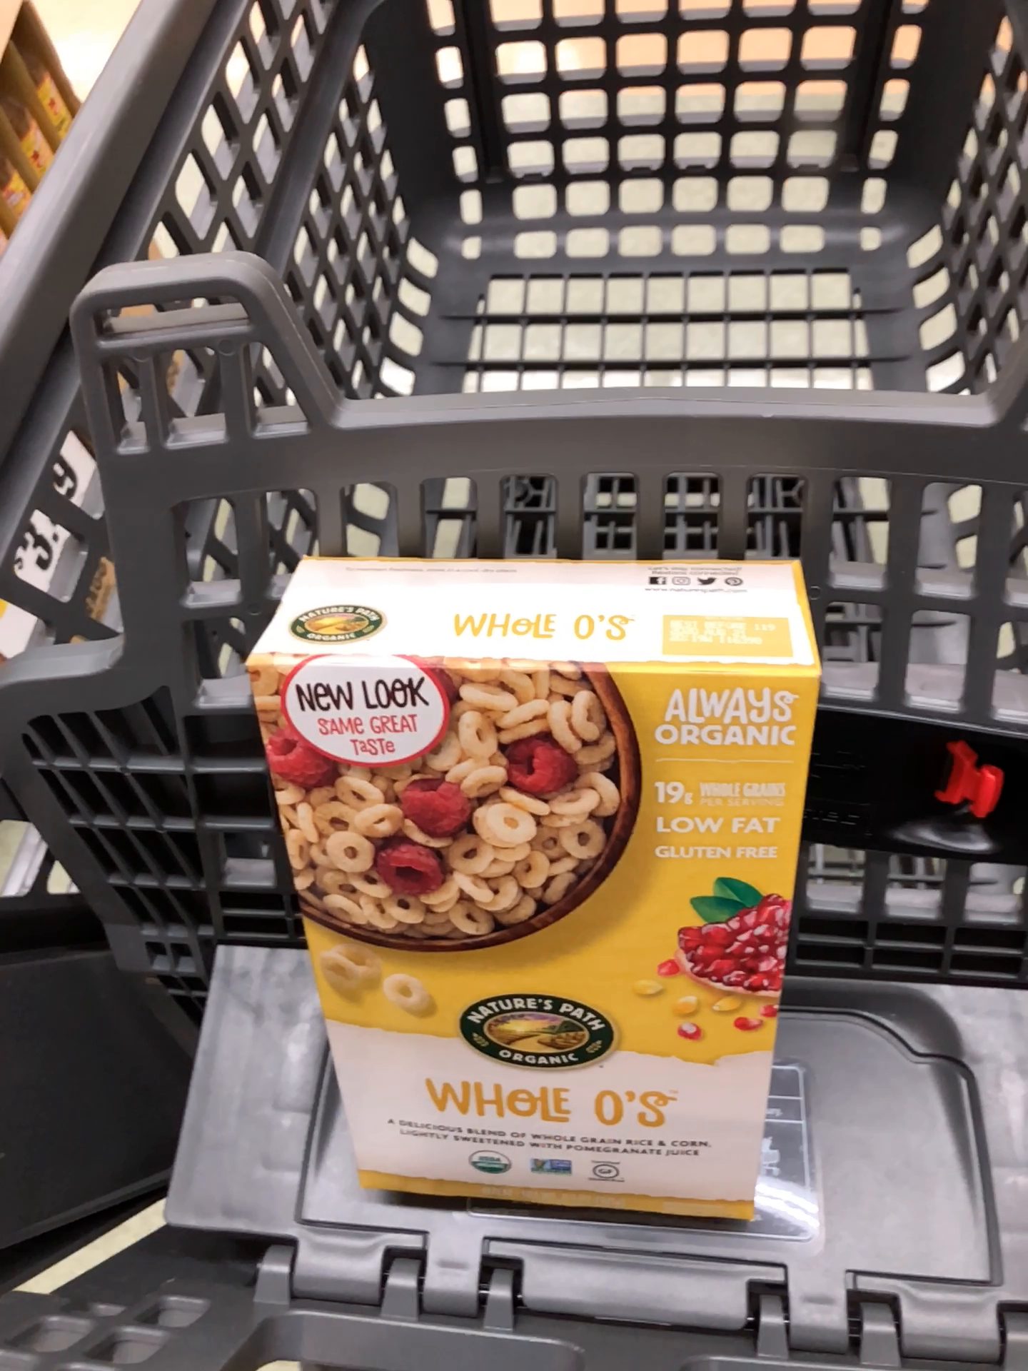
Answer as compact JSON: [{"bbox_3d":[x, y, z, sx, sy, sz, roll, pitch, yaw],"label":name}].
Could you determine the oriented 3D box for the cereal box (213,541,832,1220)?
[{"bbox_3d":[0.009,0.078,0.389,0.160,0.250,0.060,2,36,8],"label":"cereal box"}]
